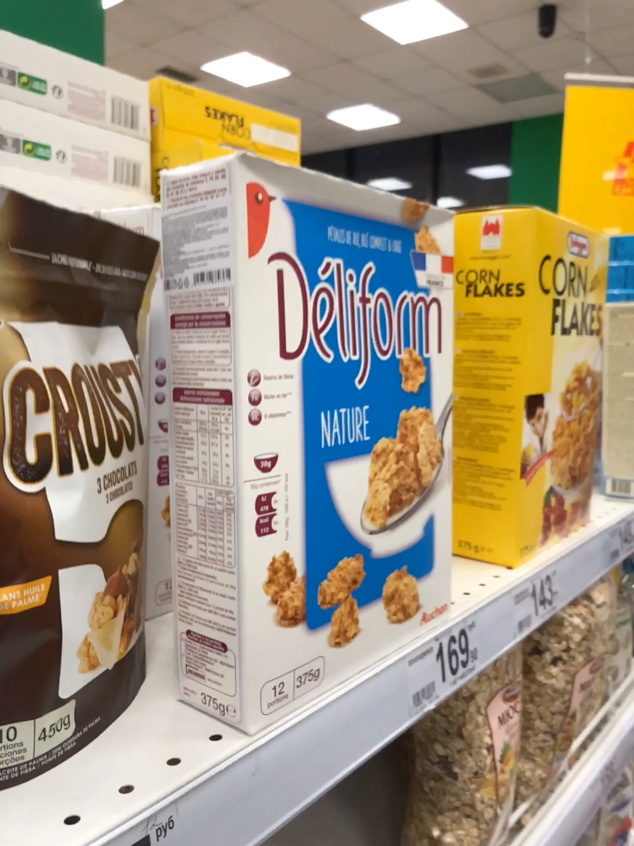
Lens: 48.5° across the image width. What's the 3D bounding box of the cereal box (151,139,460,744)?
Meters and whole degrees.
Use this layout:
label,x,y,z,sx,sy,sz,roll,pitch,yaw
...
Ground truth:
label,x,y,z,sx,sy,sz,roll,pitch,yaw
cereal box,0.007,0.003,0.408,0.060,0.270,0.200,4,7,39
